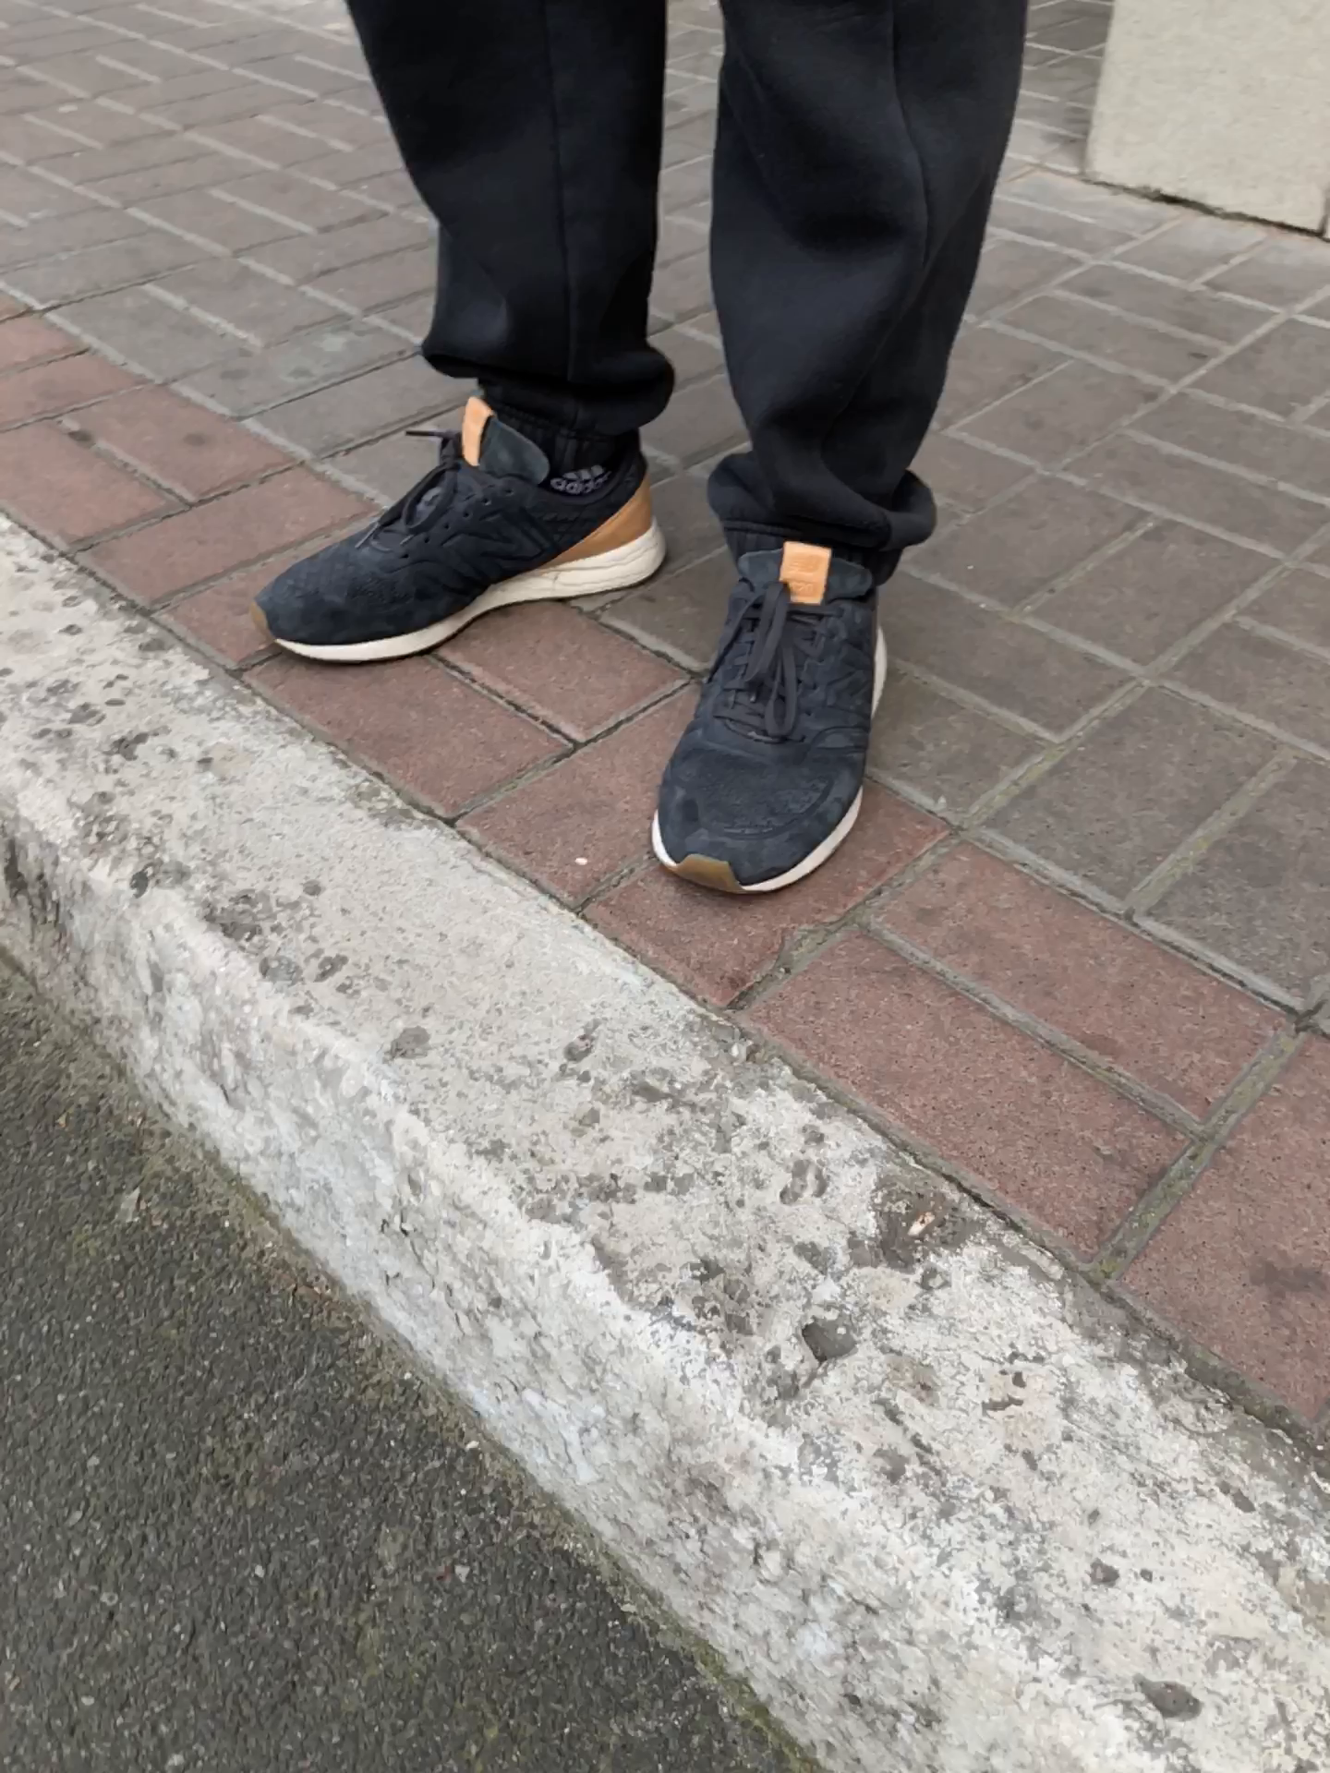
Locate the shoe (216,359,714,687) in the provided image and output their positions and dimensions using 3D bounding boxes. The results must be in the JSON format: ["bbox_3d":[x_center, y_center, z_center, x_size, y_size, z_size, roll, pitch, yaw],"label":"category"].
[{"bbox_3d":[-0.117,-0.234,0.910,0.281,0.109,0.105,-21,46,-26],"label":"shoe"}]

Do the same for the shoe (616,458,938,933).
[{"bbox_3d":[0.067,-0.117,0.793,0.104,0.109,0.282,13,42,11],"label":"shoe"}]
